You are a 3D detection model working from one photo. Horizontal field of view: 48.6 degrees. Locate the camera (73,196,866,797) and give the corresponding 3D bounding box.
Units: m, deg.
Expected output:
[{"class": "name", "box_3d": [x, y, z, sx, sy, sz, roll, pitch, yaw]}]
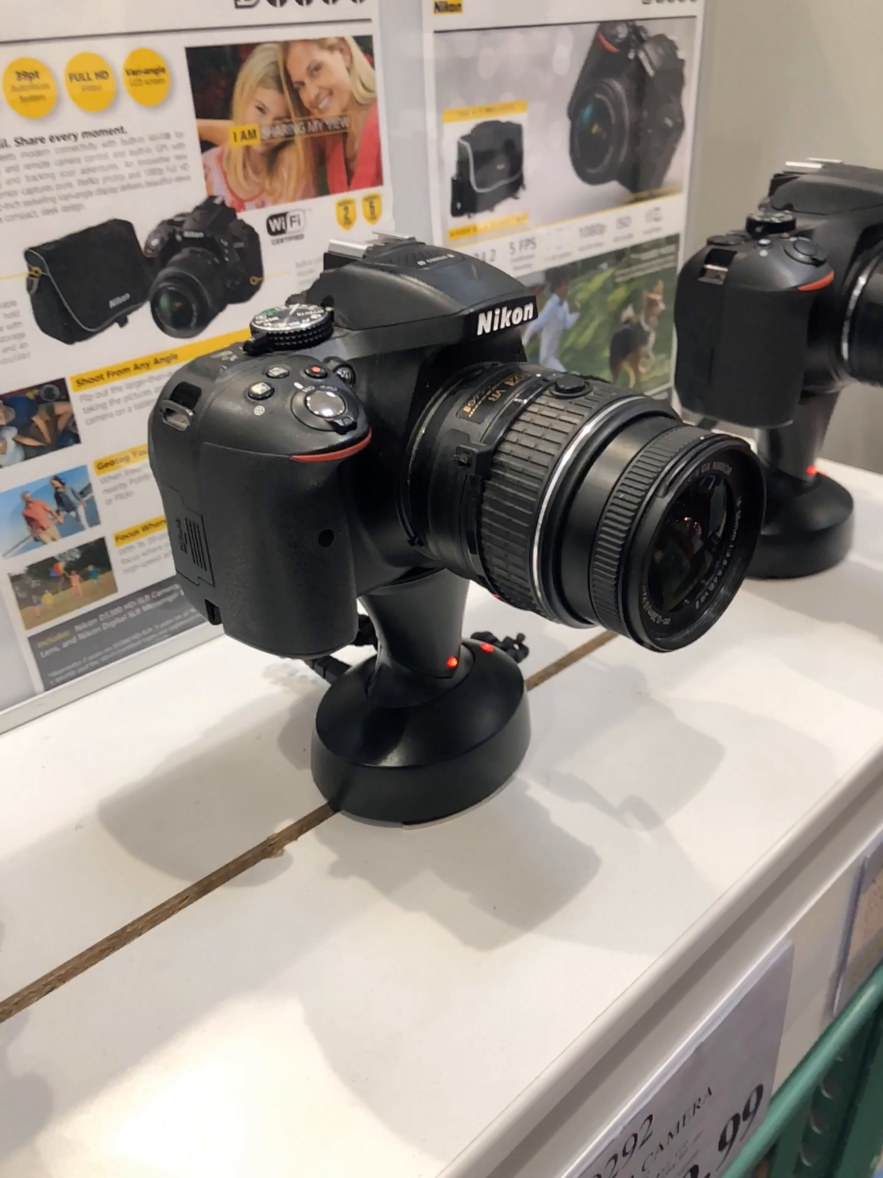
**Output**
[{"class": "camera", "box_3d": [0.005, -0.045, 0.266, 0.151, 0.089, 0.130, 25, 39, 39]}]
